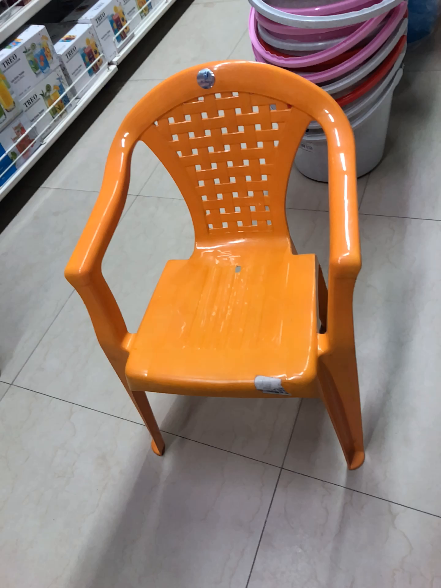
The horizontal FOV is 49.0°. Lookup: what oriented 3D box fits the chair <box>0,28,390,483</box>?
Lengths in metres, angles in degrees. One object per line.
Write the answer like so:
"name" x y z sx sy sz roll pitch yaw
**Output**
"chair" 0.031 -0.025 0.710 0.390 0.467 0.402 0 52 17
